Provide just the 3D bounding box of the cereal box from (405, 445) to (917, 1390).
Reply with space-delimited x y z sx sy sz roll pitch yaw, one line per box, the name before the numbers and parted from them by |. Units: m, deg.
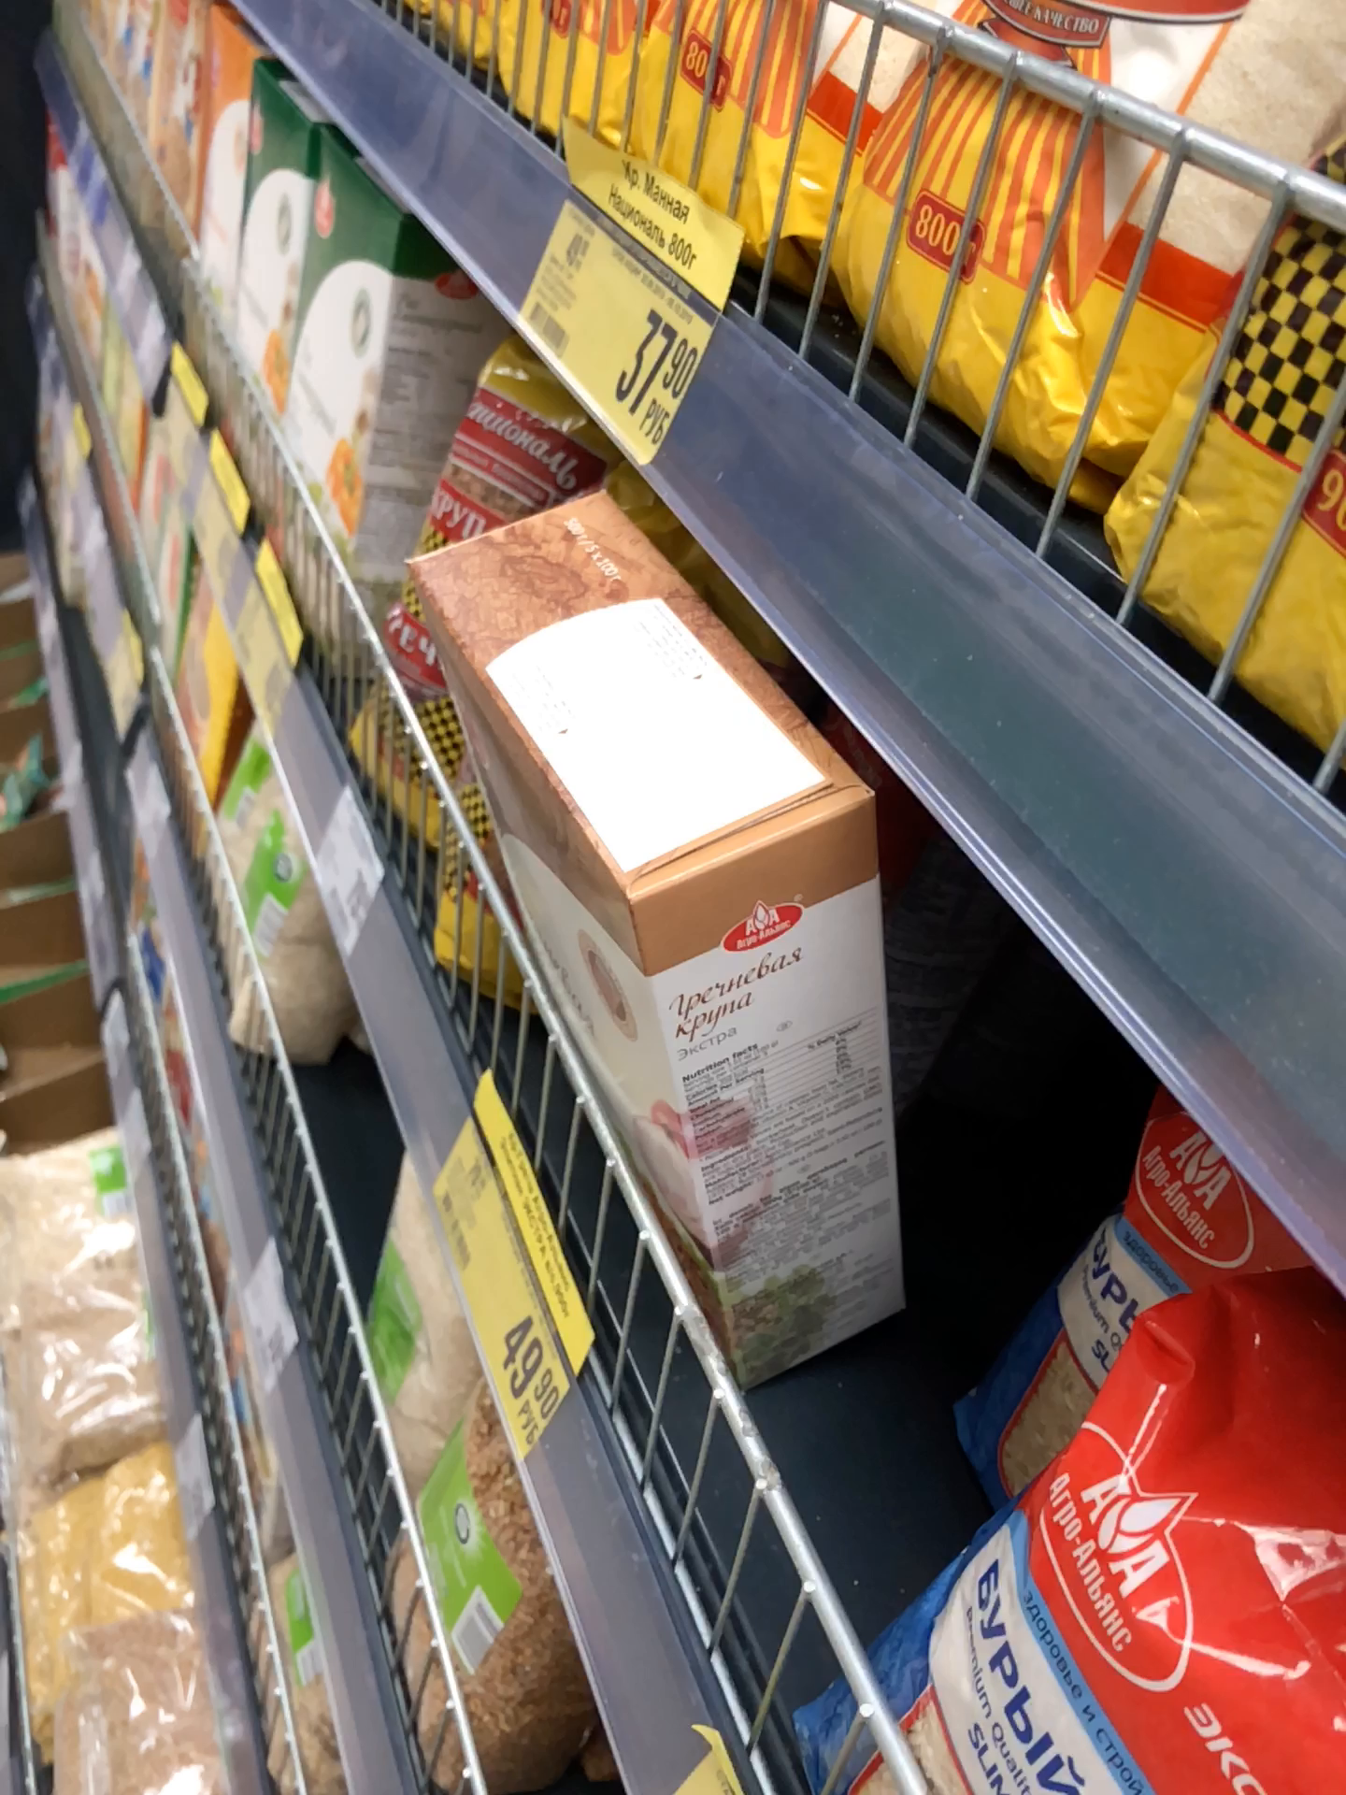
cereal box | 0.002 0.010 0.383 0.050 0.199 0.141 -23 46 -12
